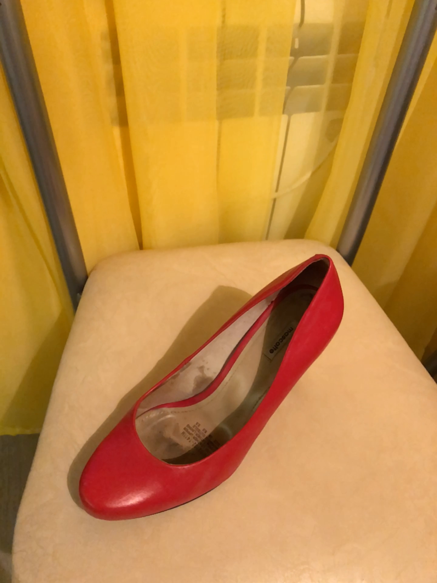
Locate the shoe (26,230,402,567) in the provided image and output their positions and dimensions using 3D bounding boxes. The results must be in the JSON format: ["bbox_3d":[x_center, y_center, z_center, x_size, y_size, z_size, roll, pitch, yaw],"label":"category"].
[{"bbox_3d":[0.004,0.070,0.345,0.230,0.129,0.080,-28,59,-26],"label":"shoe"}]
